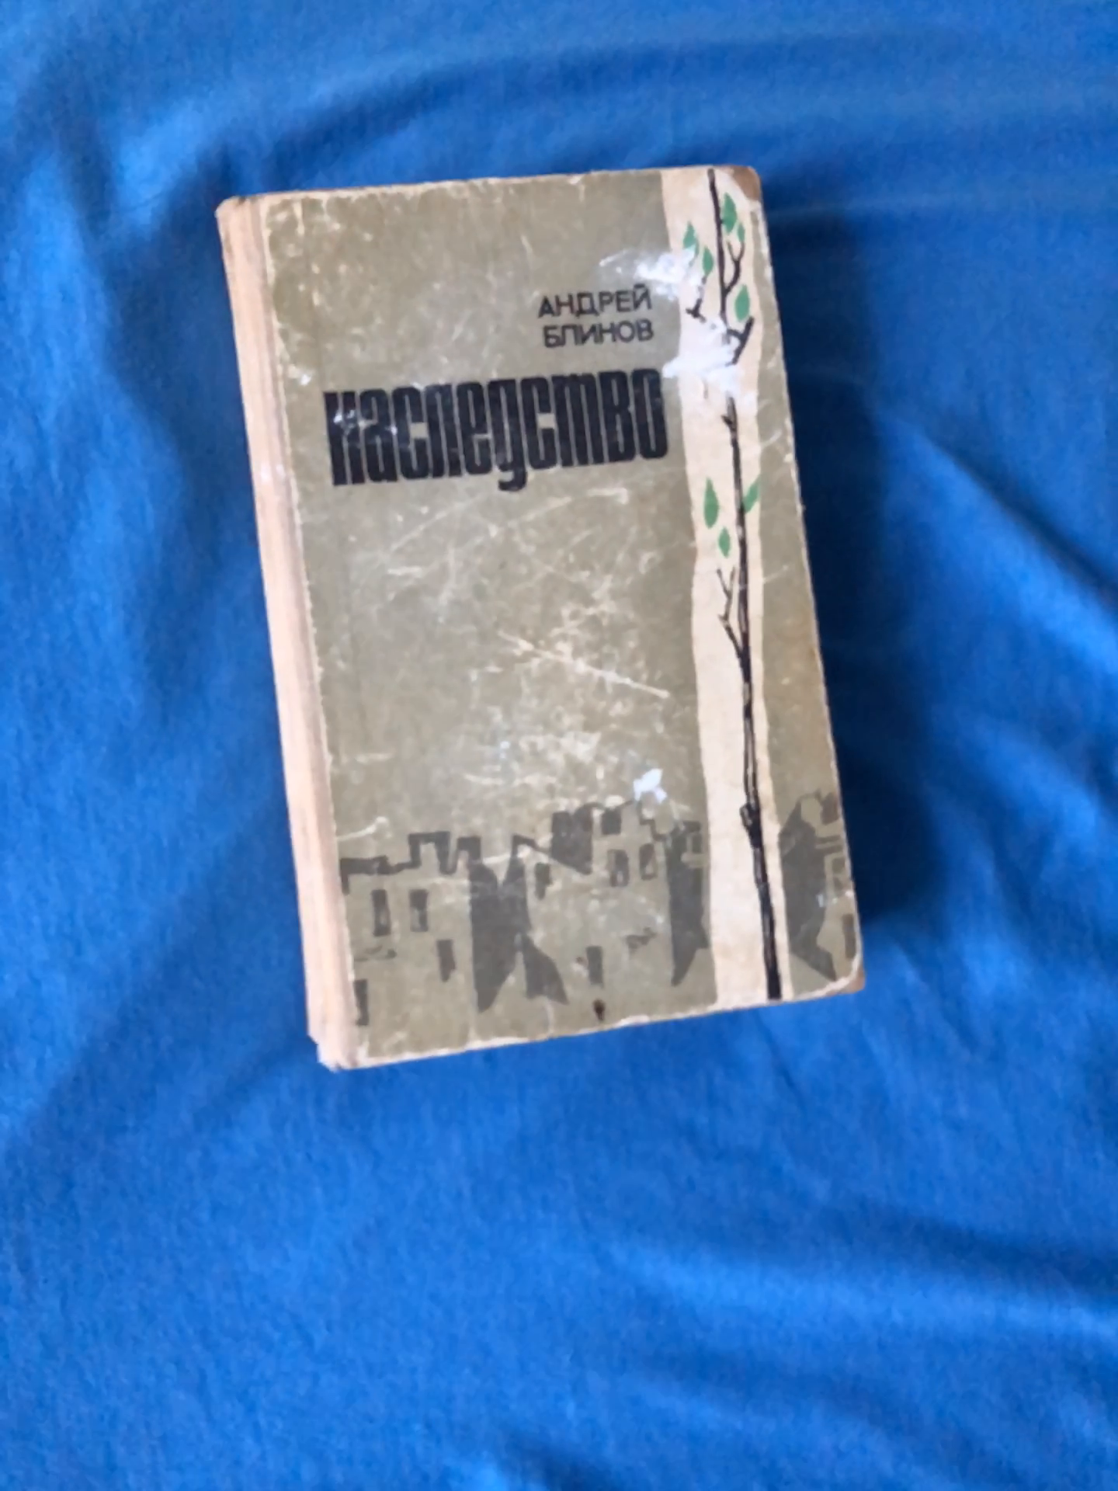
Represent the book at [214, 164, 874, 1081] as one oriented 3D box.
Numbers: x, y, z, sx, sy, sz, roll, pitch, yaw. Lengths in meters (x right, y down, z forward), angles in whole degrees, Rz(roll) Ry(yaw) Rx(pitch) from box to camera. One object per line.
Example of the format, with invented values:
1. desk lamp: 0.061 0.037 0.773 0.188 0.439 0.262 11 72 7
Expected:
1. book: -0.005 -0.033 0.304 0.130 0.040 0.200 -6 87 -10
